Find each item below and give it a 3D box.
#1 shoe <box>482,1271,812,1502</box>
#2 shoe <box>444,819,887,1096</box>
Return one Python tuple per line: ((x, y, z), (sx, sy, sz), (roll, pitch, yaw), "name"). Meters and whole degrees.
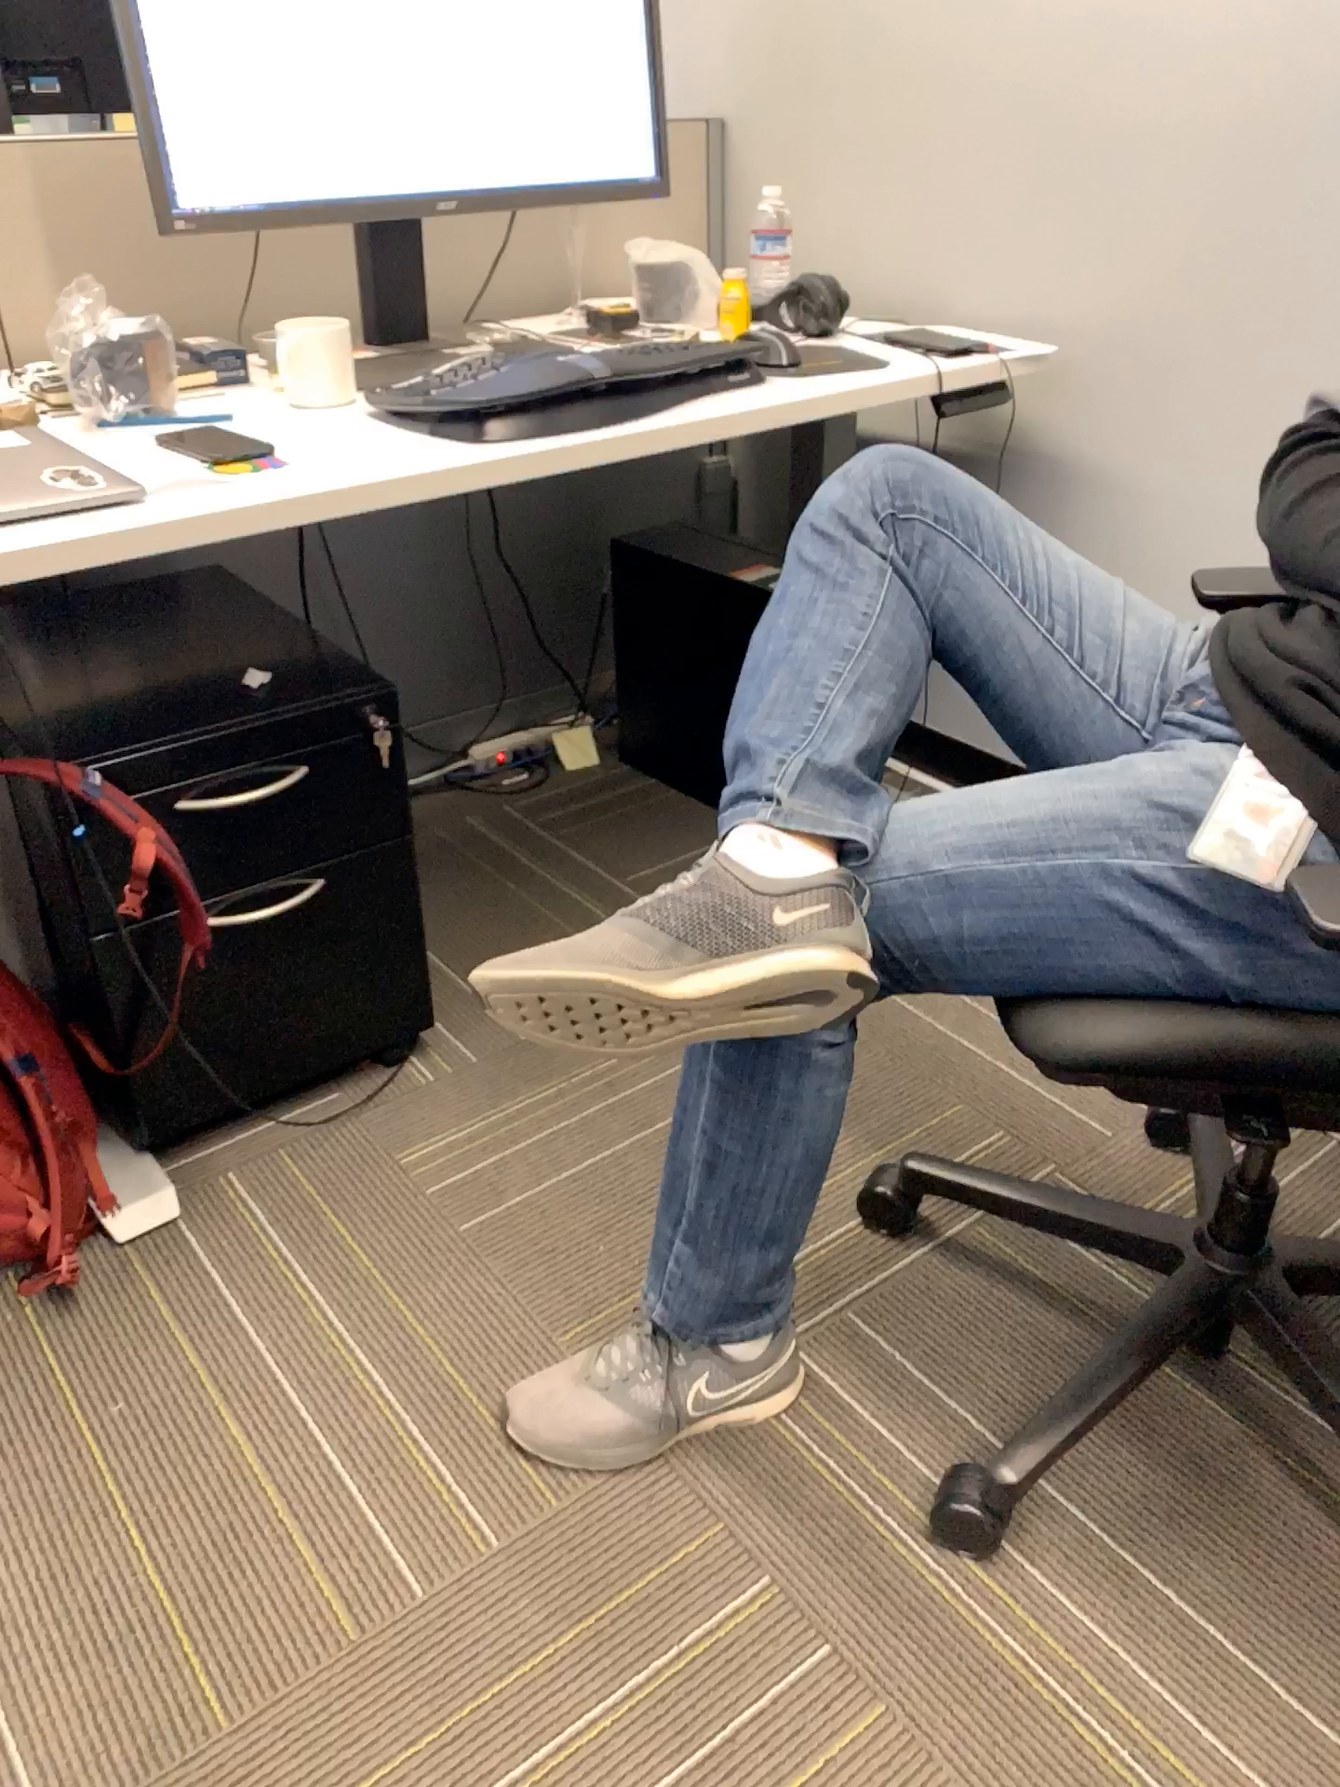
((-0.022, 0.462, 1.303), (0.287, 0.092, 0.114), (-9, 32, -13), "shoe")
((0.002, 0.043, 0.998), (0.295, 0.120, 0.134), (4, 35, 6), "shoe")
